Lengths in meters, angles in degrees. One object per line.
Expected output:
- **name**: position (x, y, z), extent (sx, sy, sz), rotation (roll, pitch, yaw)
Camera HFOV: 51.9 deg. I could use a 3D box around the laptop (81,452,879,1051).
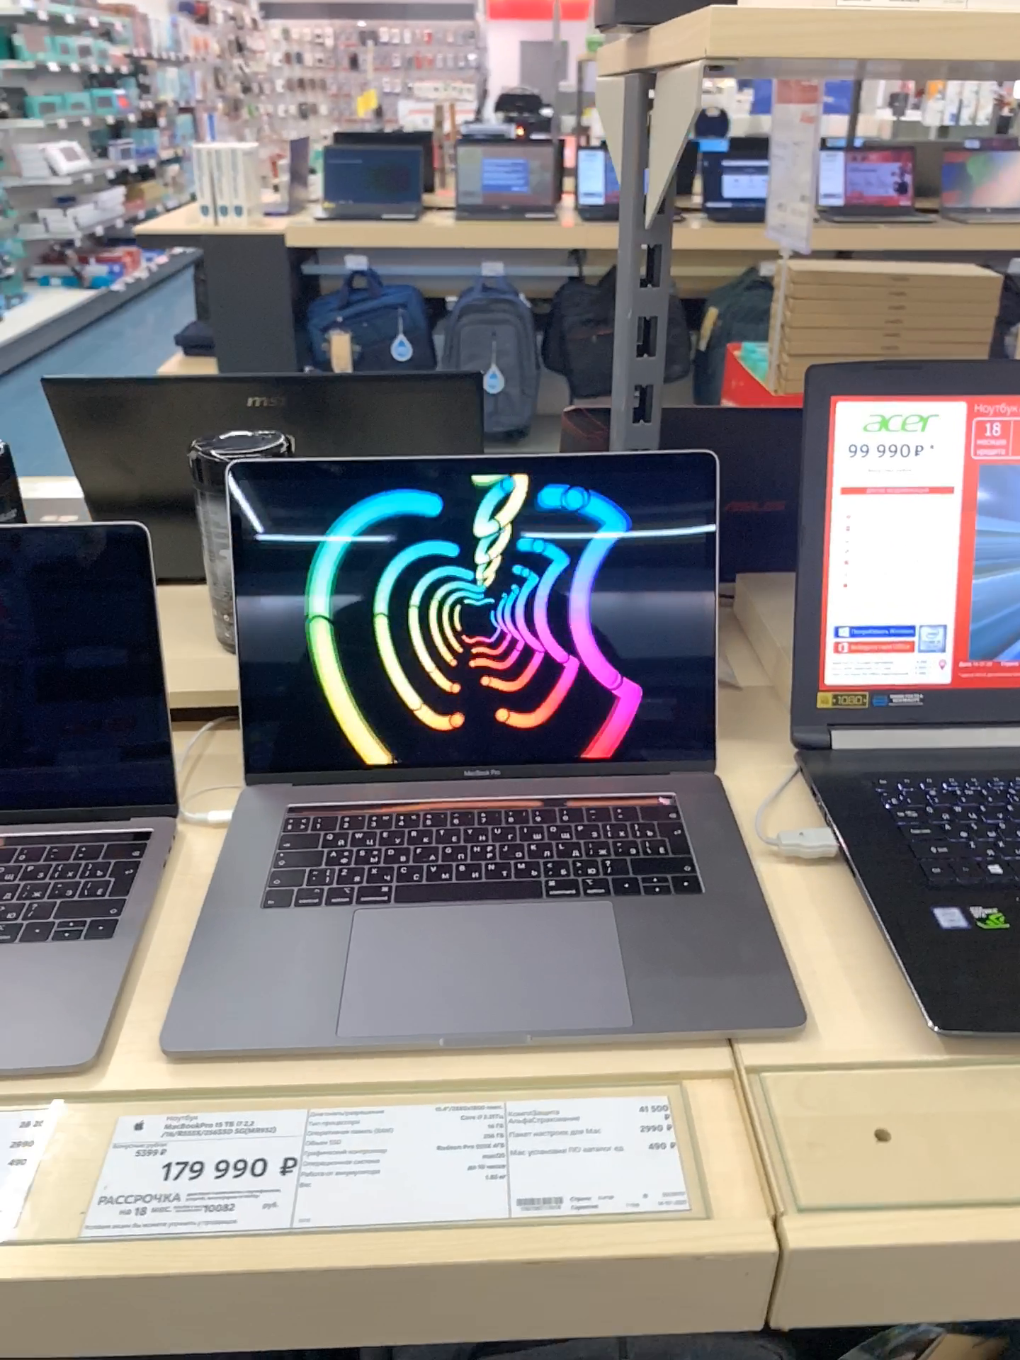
- **laptop**: position (-0.018, 0.017, 0.644), extent (0.344, 0.210, 0.326), rotation (-1, 30, -2)
